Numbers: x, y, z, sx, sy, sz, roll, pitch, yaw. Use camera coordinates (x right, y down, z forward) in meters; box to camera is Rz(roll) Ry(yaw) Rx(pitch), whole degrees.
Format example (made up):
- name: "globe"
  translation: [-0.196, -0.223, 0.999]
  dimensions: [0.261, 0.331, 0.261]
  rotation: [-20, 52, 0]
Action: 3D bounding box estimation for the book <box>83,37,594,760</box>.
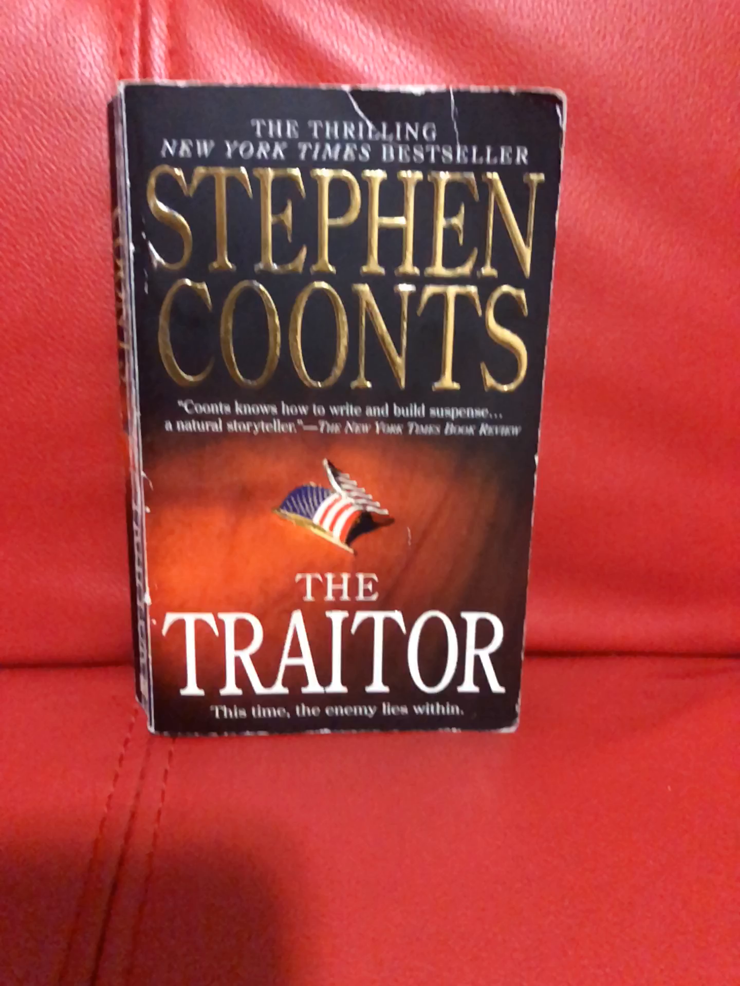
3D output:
- name: "book"
  translation: [-0.010, -0.019, 0.233]
  dimensions: [0.120, 0.180, 0.040]
  rotation: [0, 12, -6]
